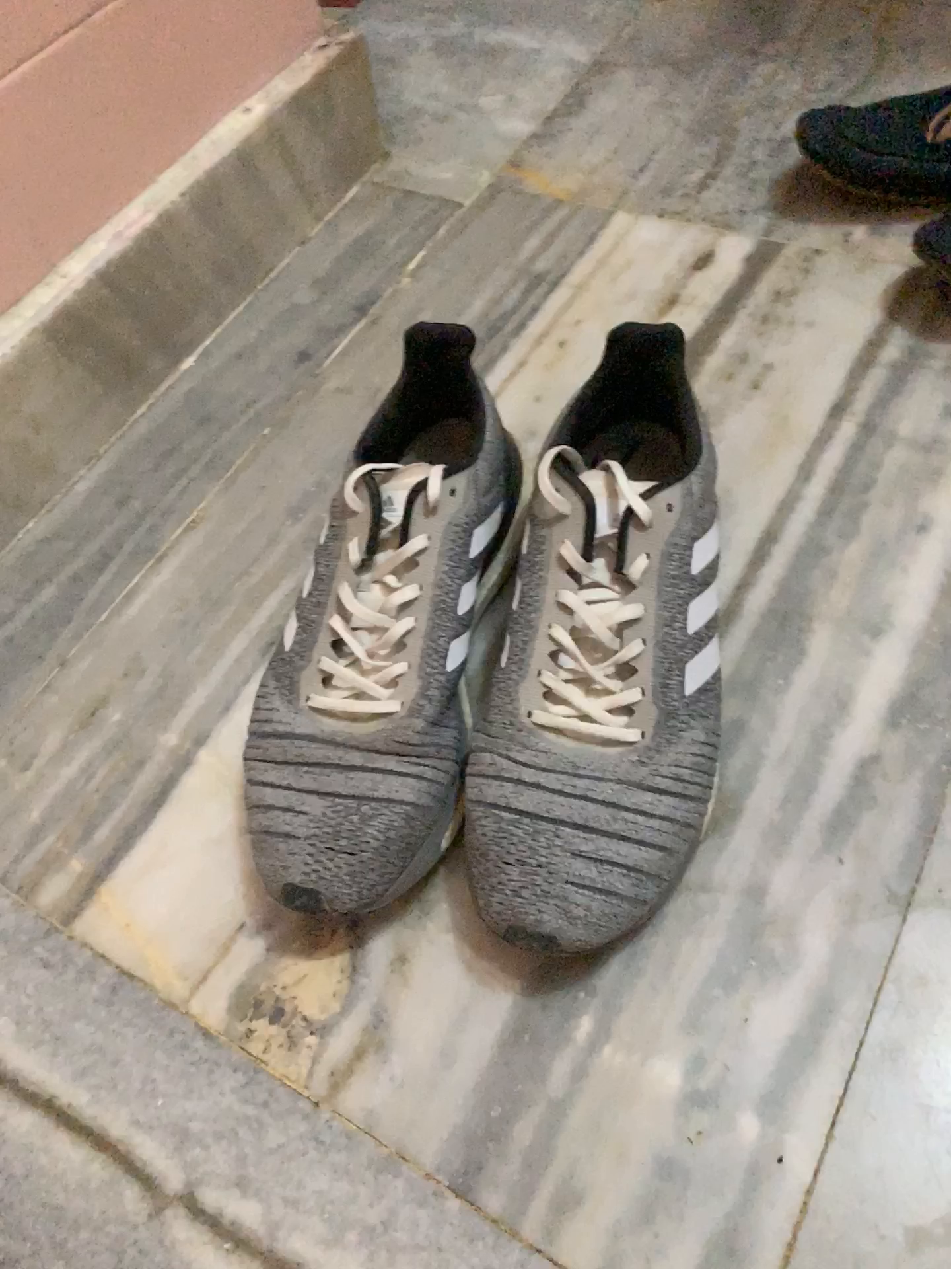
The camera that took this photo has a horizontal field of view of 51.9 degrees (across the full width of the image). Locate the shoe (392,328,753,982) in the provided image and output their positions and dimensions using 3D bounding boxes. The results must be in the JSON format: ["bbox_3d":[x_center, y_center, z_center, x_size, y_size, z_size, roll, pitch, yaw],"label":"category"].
[{"bbox_3d":[0.061,-0.010,0.460,0.120,0.090,0.300,4,56,13],"label":"shoe"}]

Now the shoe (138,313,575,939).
[{"bbox_3d":[-0.036,-0.025,0.482,0.110,0.080,0.309,7,57,15],"label":"shoe"}]
